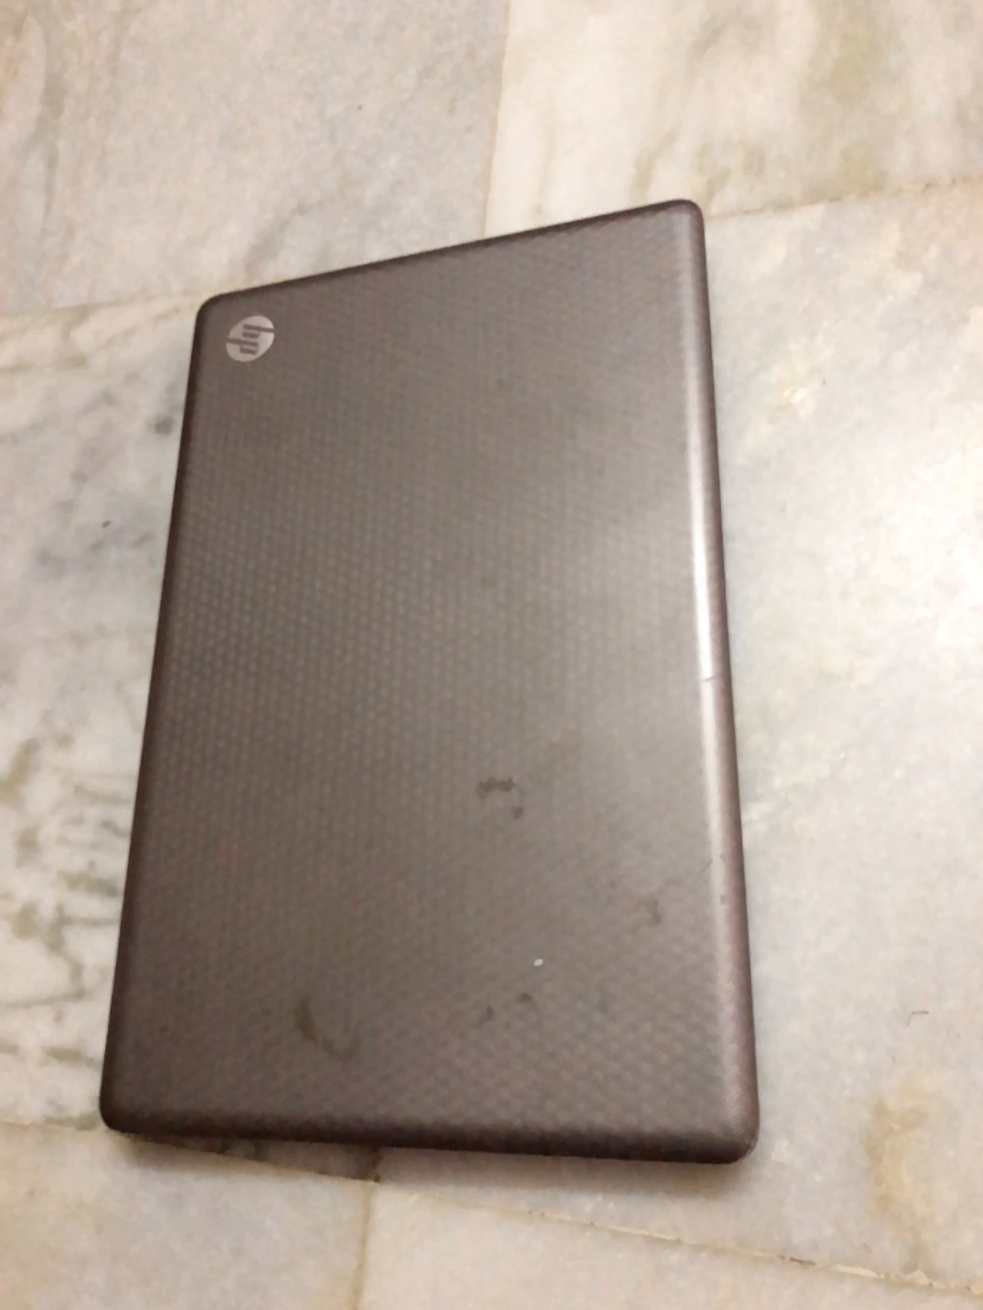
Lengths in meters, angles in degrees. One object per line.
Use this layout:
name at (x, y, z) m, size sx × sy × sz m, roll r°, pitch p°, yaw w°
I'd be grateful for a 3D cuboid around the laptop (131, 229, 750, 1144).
laptop at (-0.026, -0.002, 0.470) m, size 0.248 × 0.002 × 0.378 m, roll -5°, pitch 71°, yaw 18°
